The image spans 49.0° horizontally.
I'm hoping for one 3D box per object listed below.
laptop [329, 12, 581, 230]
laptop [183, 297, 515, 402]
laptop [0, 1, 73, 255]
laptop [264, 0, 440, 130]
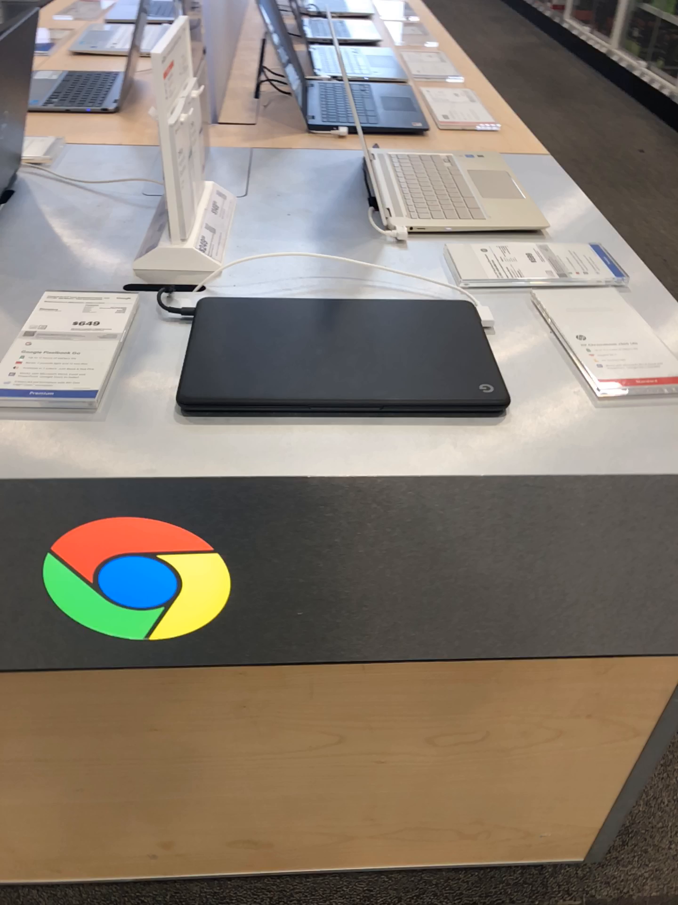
[{"bbox_3d":[0.135,-0.476,1.047,0.274,0.205,0.304,-2,39,-4],"label":"laptop"},{"bbox_3d":[0.007,-0.106,0.736,0.296,0.001,0.195,1,38,-5],"label":"laptop"},{"bbox_3d":[-0.522,-0.403,0.902,0.292,0.196,0.300,-2,40,-6],"label":"laptop"},{"bbox_3d":[0.011,-0.749,1.384,0.287,0.189,0.308,-1,40,-4],"label":"laptop"}]
